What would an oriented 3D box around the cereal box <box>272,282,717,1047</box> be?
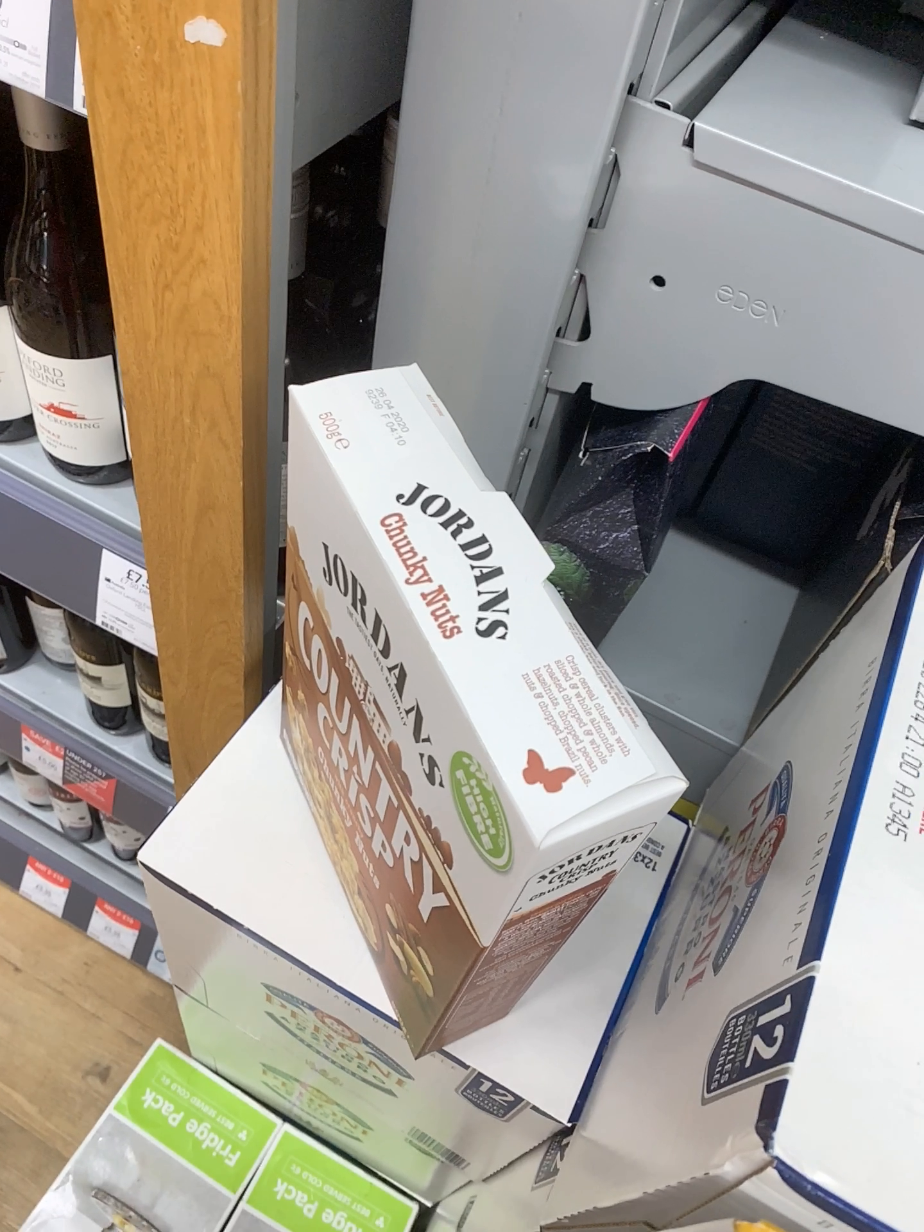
[{"bbox_3d":[-0.019,0.038,0.381,0.050,0.258,0.191,-16,58,-22],"label":"cereal box"}]
